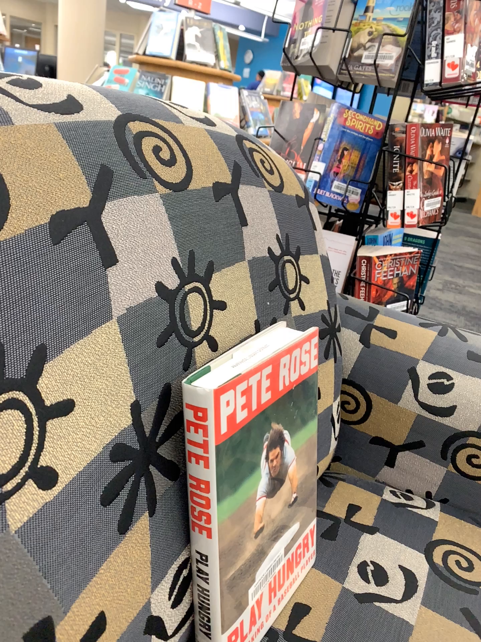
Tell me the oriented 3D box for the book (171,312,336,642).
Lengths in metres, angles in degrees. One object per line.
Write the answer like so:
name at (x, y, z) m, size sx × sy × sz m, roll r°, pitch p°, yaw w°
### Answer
book at (0.024, 0.136, 0.421) m, size 0.040 × 0.249 × 0.191 m, roll 7°, pitch 16°, yaw 31°
